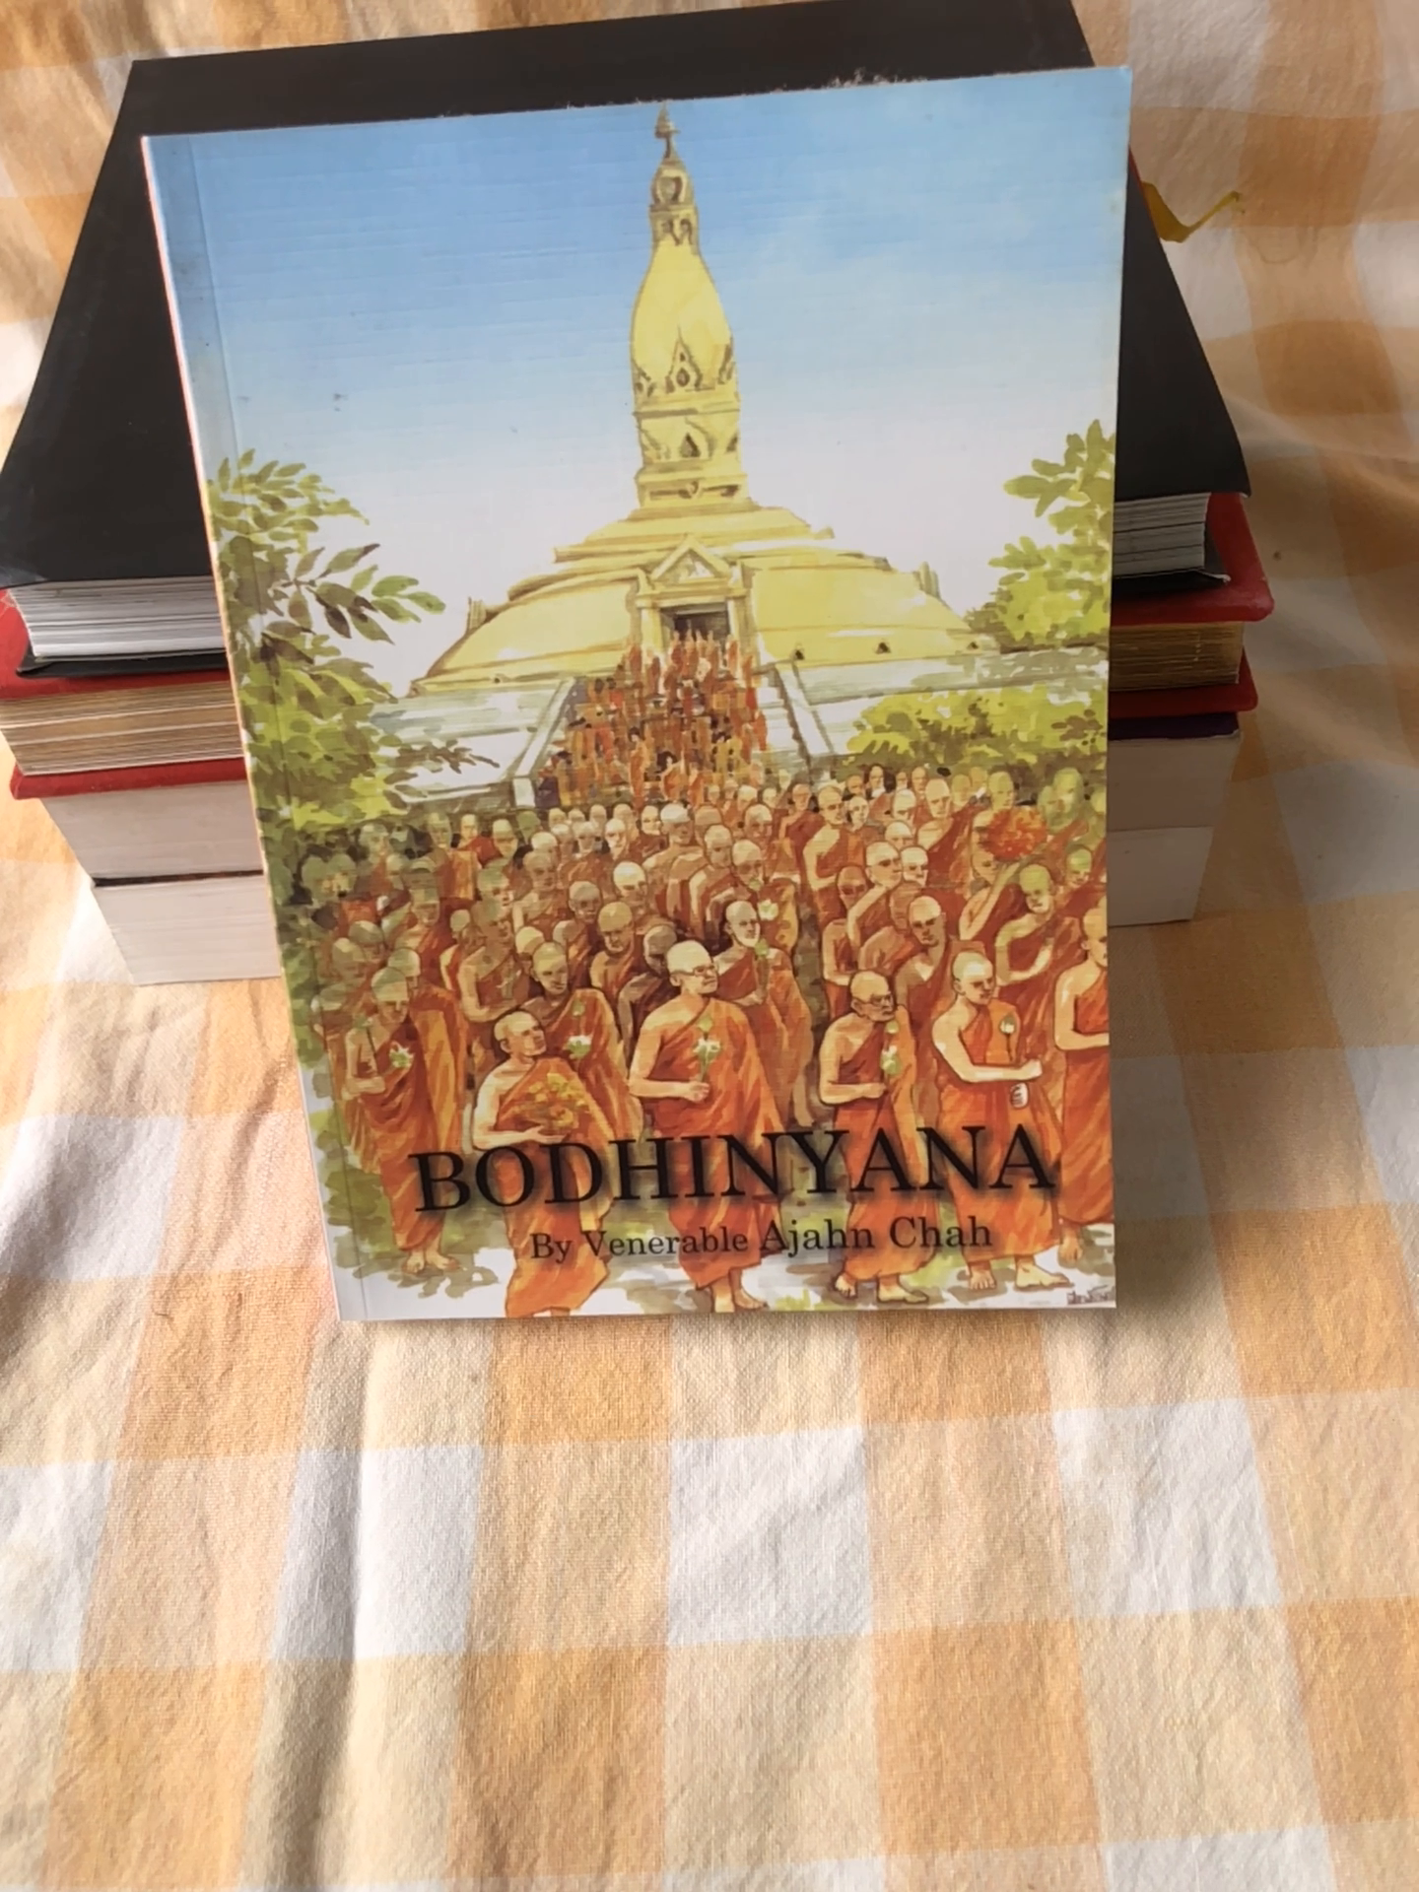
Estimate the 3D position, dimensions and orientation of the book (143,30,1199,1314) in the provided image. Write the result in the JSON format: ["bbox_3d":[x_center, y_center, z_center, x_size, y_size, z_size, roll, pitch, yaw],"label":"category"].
[{"bbox_3d":[-0.002,-0.034,0.266,0.150,0.200,0.030,-1,17,4],"label":"book"}]
